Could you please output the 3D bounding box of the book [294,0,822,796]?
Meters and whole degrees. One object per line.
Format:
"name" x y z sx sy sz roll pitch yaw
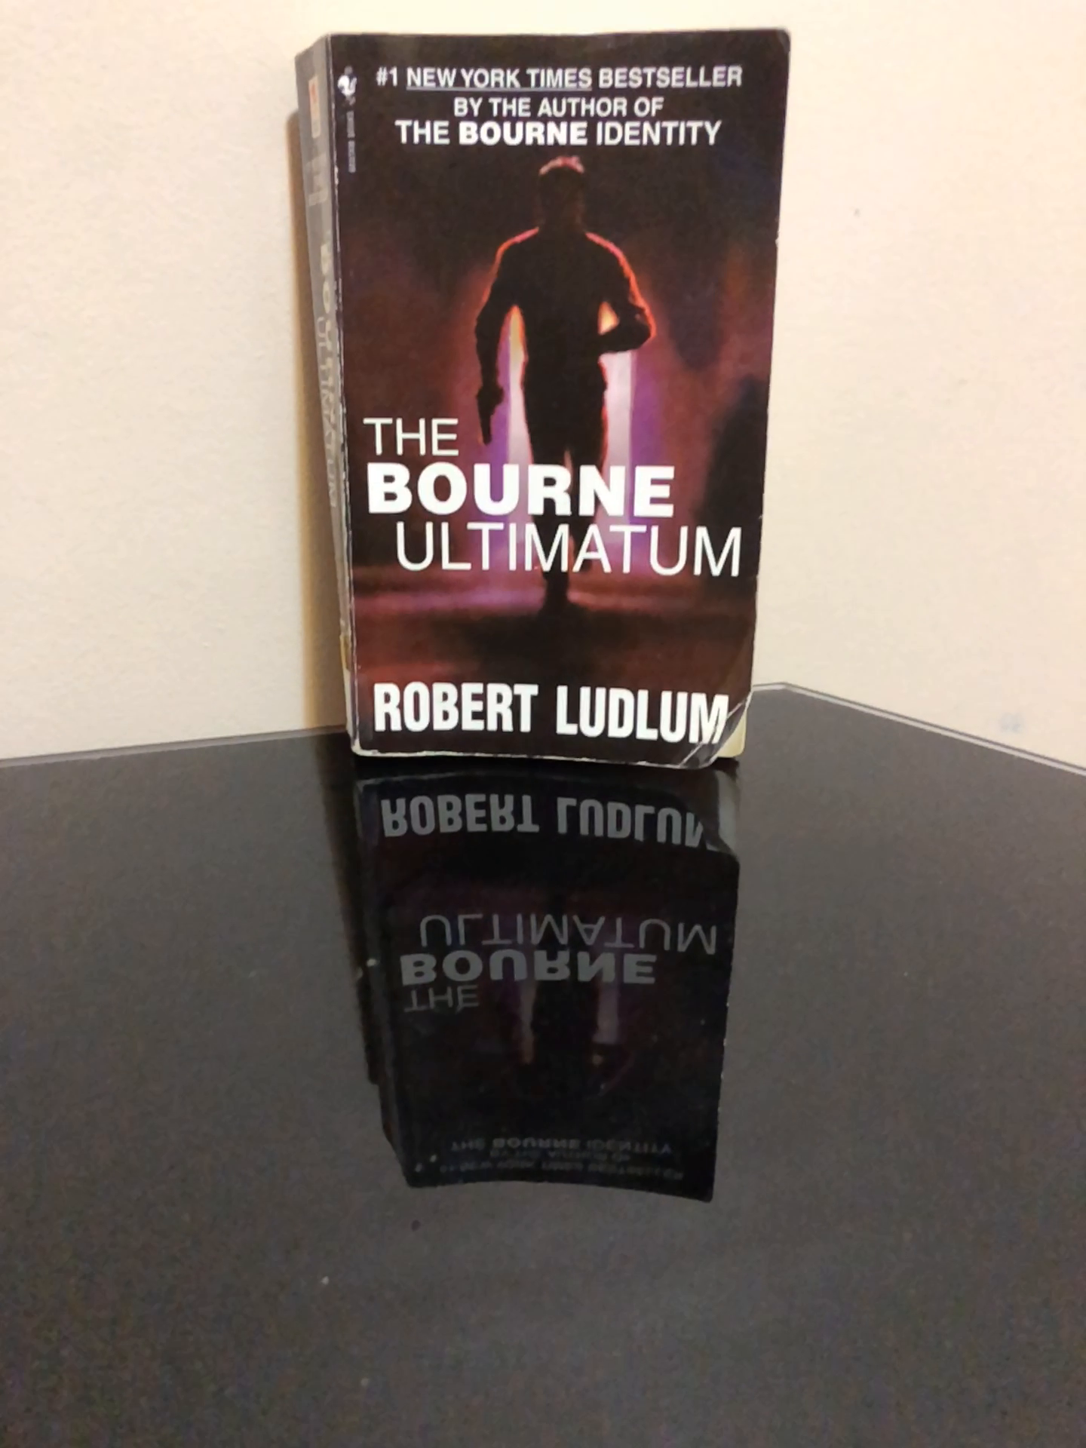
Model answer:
"book" 0.005 -0.084 0.330 0.120 0.189 0.070 -2 14 -2
